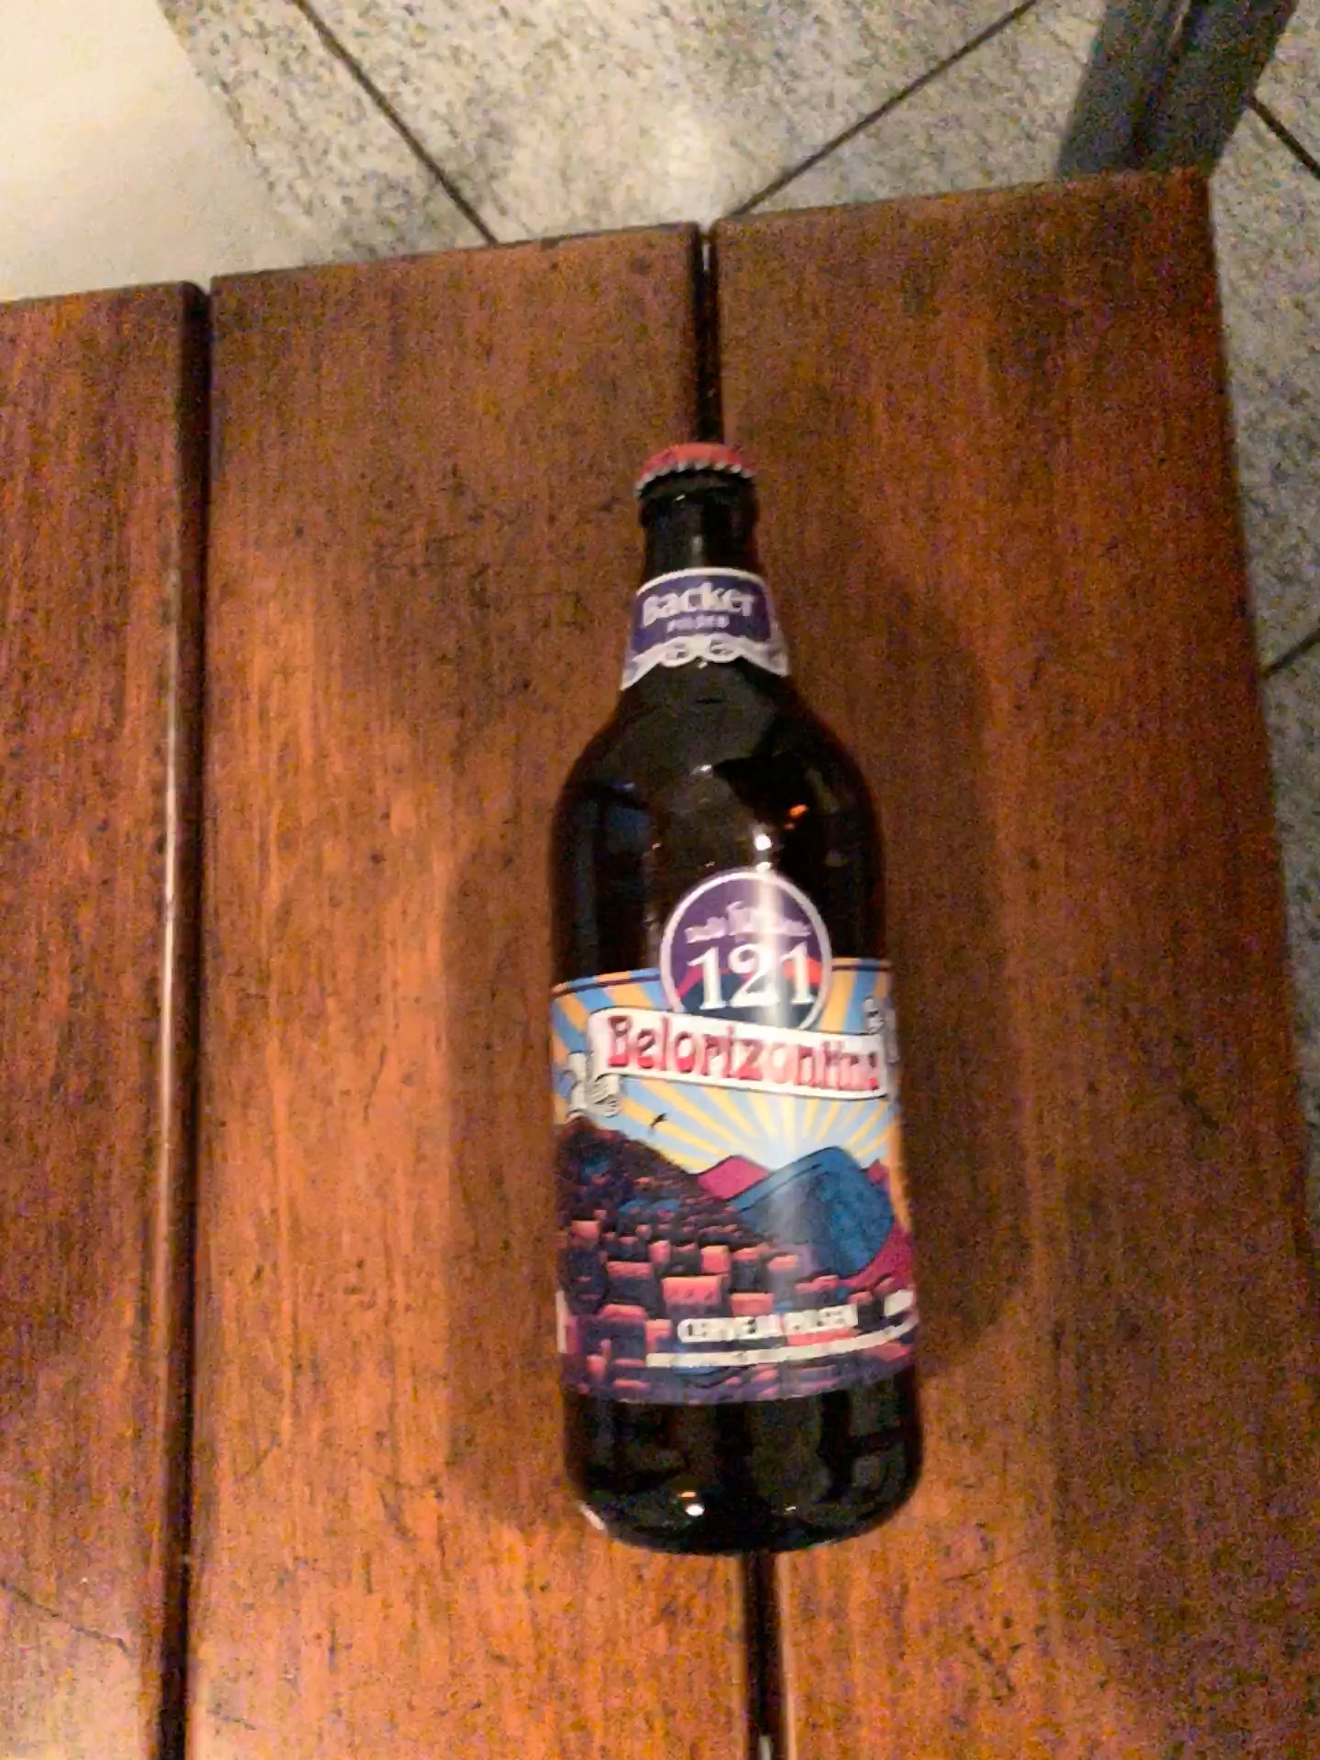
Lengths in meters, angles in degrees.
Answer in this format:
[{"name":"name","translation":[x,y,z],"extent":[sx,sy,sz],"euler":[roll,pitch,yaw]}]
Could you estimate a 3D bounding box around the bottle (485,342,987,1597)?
[{"name":"bottle","translation":[0.011,0.012,0.291],"extent":[0.080,0.050,0.240],"euler":[-3,81,-3]}]
